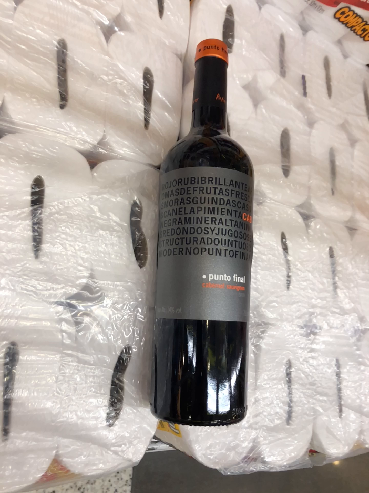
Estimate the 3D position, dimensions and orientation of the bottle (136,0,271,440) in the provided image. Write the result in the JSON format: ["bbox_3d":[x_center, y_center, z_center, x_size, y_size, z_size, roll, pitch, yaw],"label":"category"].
[{"bbox_3d":[0.016,-0.032,0.310,0.070,0.060,0.310,9,76,-31],"label":"bottle"}]
